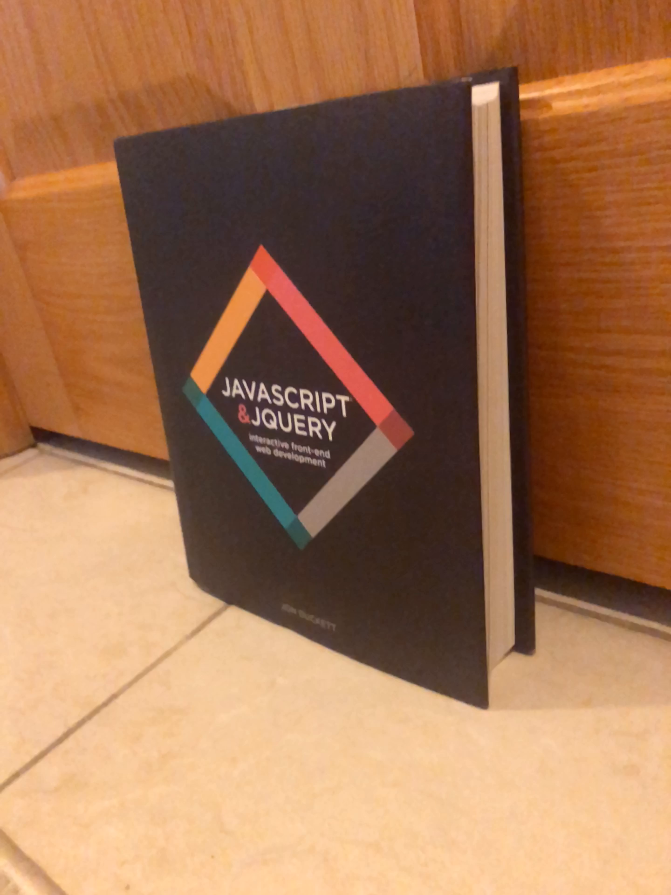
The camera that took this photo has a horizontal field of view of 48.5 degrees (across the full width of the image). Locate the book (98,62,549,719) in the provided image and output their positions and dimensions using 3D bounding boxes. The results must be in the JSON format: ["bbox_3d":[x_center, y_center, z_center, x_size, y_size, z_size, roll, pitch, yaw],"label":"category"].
[{"bbox_3d":[-0.008,-0.028,0.347,0.200,0.237,0.060,11,25,41],"label":"book"}]
